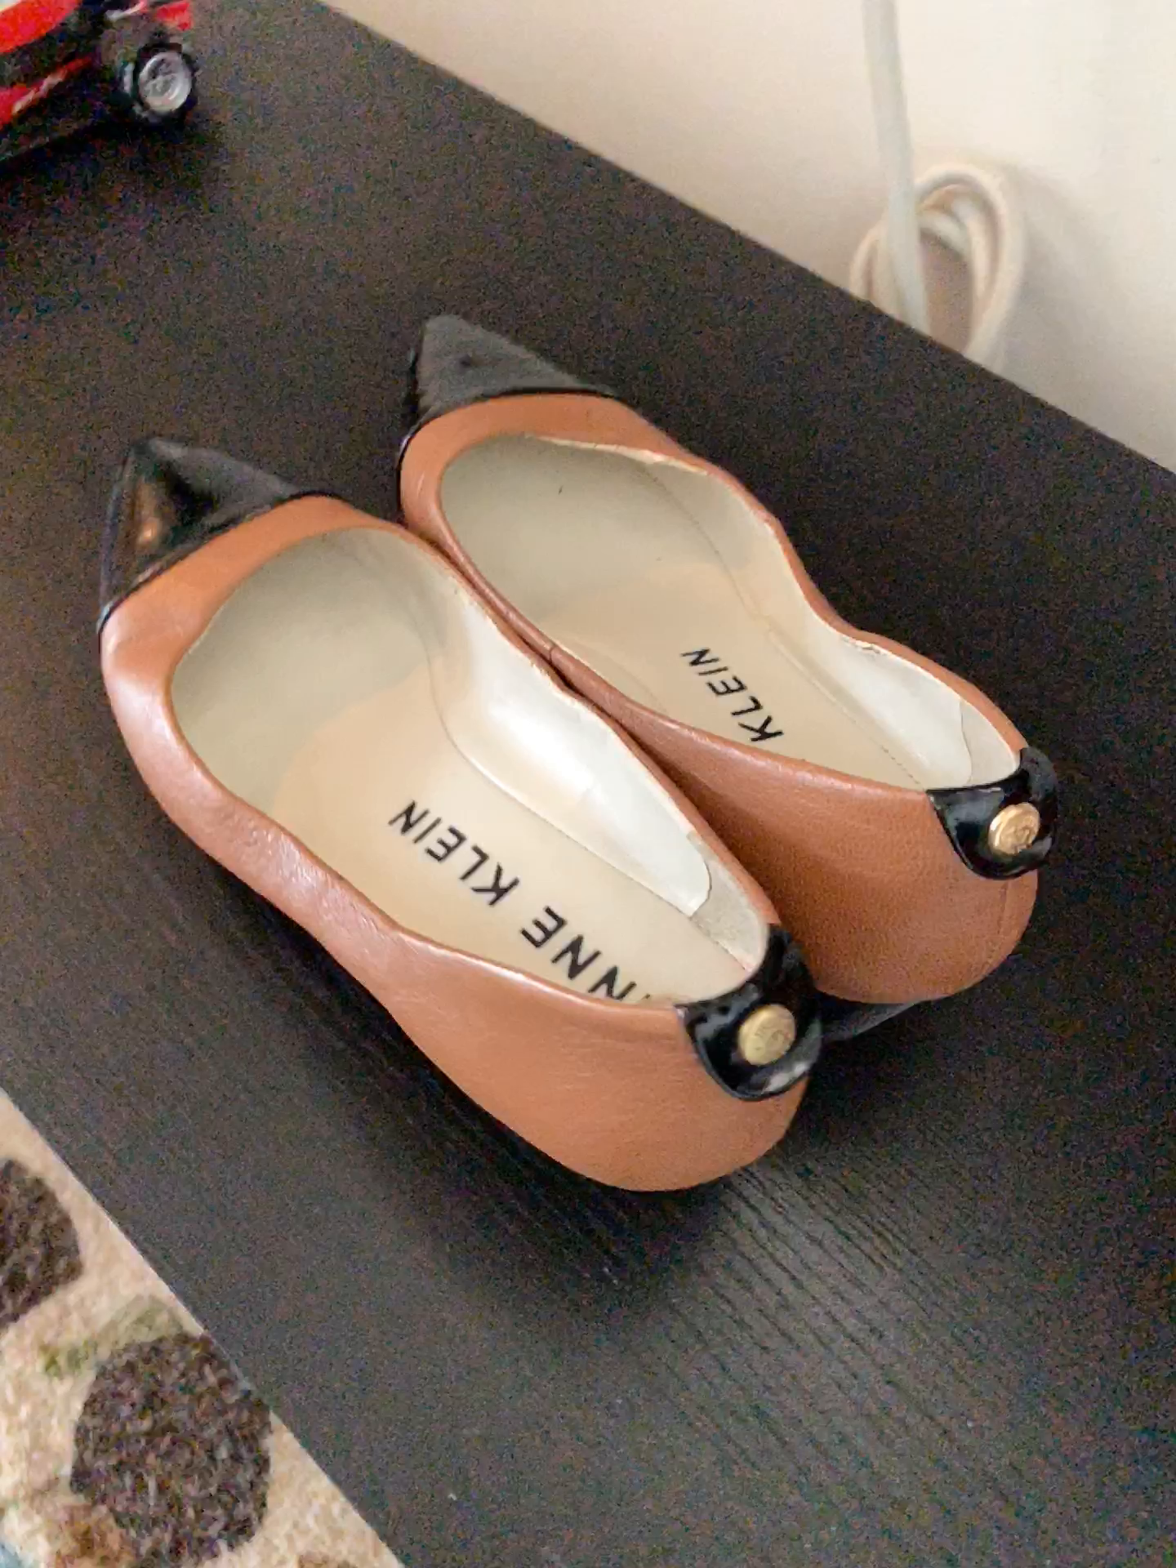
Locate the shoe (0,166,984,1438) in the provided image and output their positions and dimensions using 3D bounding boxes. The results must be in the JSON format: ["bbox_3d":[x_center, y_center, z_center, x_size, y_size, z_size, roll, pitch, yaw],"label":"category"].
[{"bbox_3d":[-0.056,-0.013,0.267,0.093,0.099,0.261,-30,63,-22],"label":"shoe"}]

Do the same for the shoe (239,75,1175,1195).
[{"bbox_3d":[0.010,-0.055,0.286,0.092,0.079,0.261,-21,60,-17],"label":"shoe"}]
